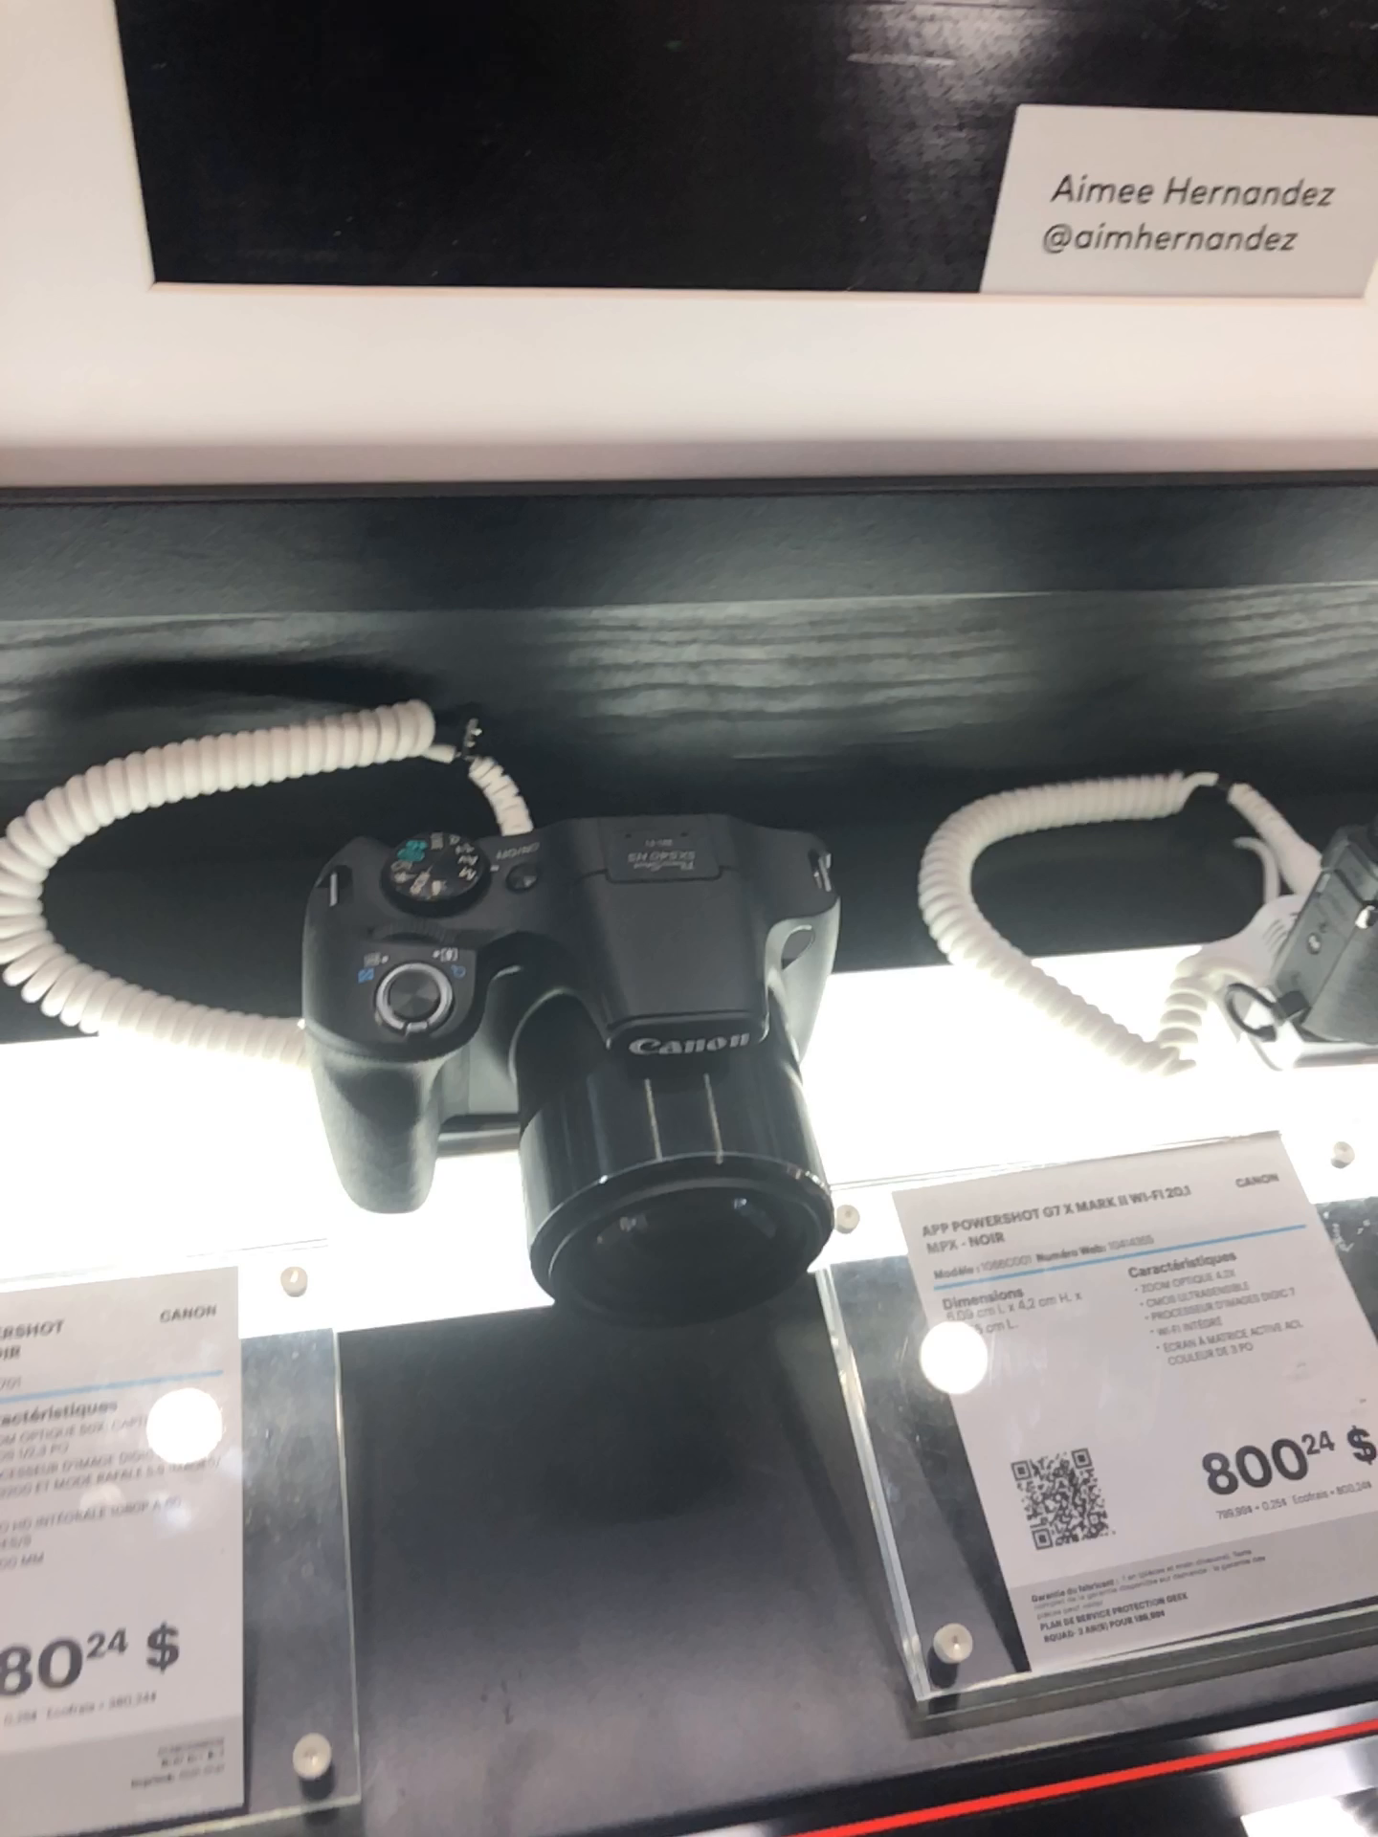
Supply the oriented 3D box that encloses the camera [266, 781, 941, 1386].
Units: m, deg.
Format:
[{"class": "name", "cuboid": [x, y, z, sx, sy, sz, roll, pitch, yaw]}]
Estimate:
[{"class": "camera", "cuboid": [-0.024, 0.035, 0.332, 0.122, 0.099, 0.071, -4, 42, -12]}]
